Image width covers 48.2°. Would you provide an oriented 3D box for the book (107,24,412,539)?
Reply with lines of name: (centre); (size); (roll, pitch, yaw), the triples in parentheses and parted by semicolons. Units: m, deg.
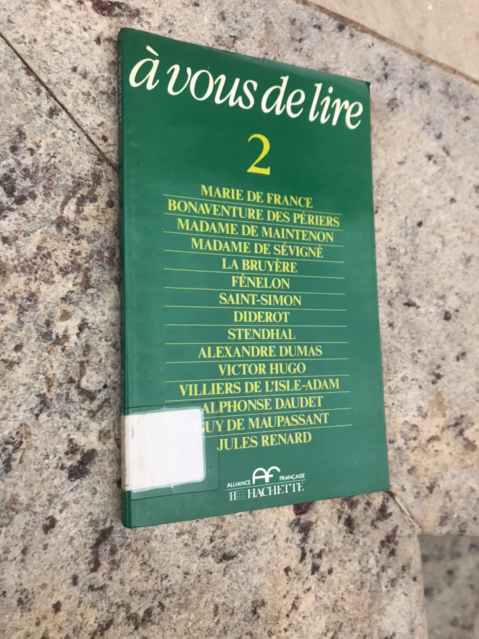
book: (0.012, -0.019, 0.251); (0.140, 0.017, 0.210); (1, 84, -23)
